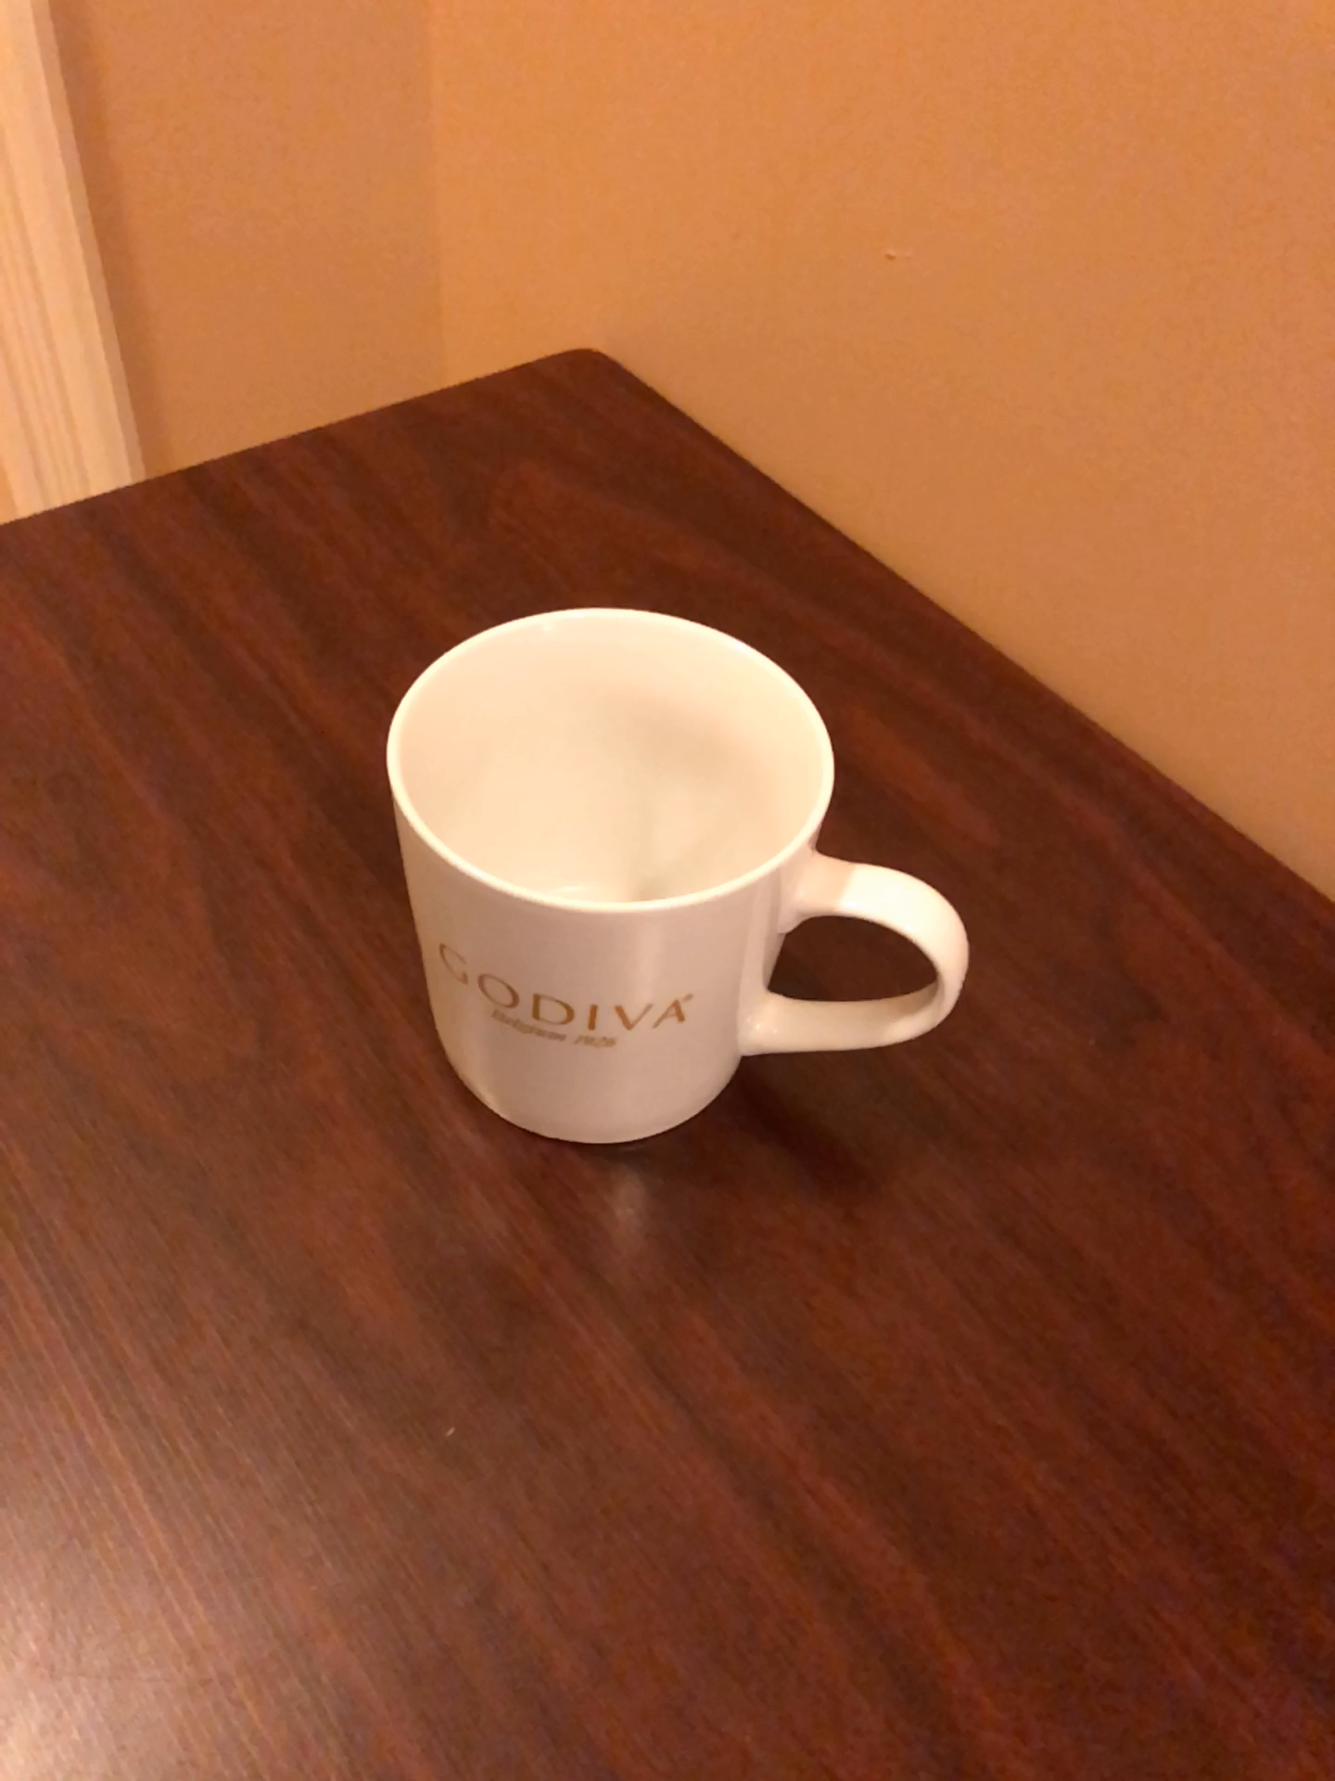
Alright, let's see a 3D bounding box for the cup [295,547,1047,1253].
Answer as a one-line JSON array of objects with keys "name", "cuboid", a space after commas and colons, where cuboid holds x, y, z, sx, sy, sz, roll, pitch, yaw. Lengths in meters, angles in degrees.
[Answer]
[{"name": "cup", "cuboid": [0.005, 0.001, 0.370, 0.150, 0.100, 0.110, 12, 48, 5]}]
